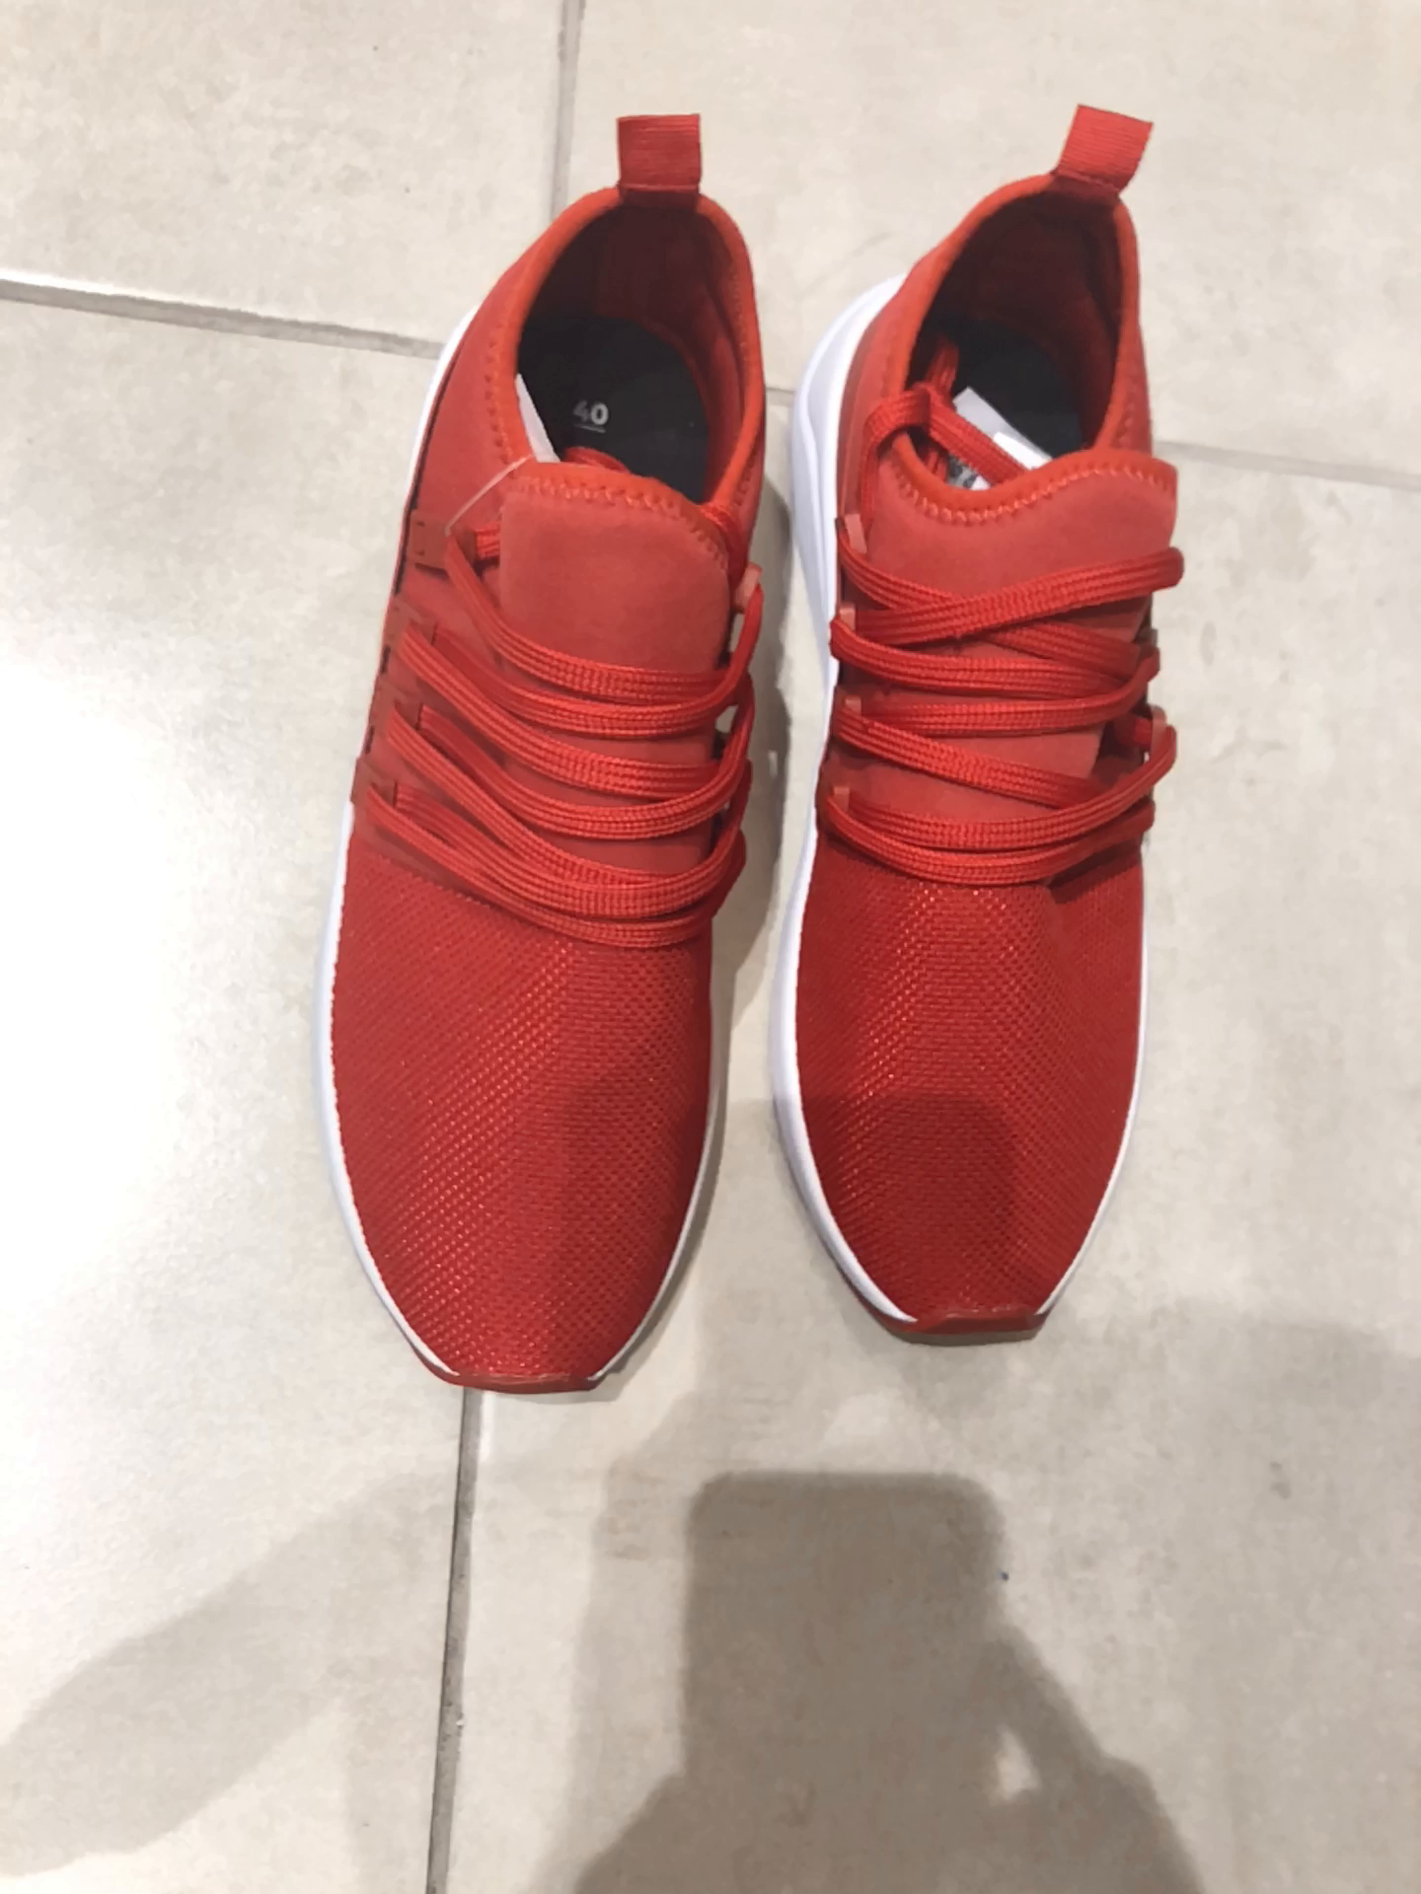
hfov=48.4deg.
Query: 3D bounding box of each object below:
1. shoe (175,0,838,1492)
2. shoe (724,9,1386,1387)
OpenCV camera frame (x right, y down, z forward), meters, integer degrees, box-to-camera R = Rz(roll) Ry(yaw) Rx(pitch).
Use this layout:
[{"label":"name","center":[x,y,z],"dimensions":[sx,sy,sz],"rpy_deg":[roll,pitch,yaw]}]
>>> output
[{"label":"shoe","center":[-0.043,-0.033,0.356],"dimensions":[0.100,0.140,0.270],"rpy_deg":[5,82,-9]},{"label":"shoe","center":[0.067,-0.046,0.379],"dimensions":[0.100,0.140,0.270],"rpy_deg":[0,83,-10]}]
